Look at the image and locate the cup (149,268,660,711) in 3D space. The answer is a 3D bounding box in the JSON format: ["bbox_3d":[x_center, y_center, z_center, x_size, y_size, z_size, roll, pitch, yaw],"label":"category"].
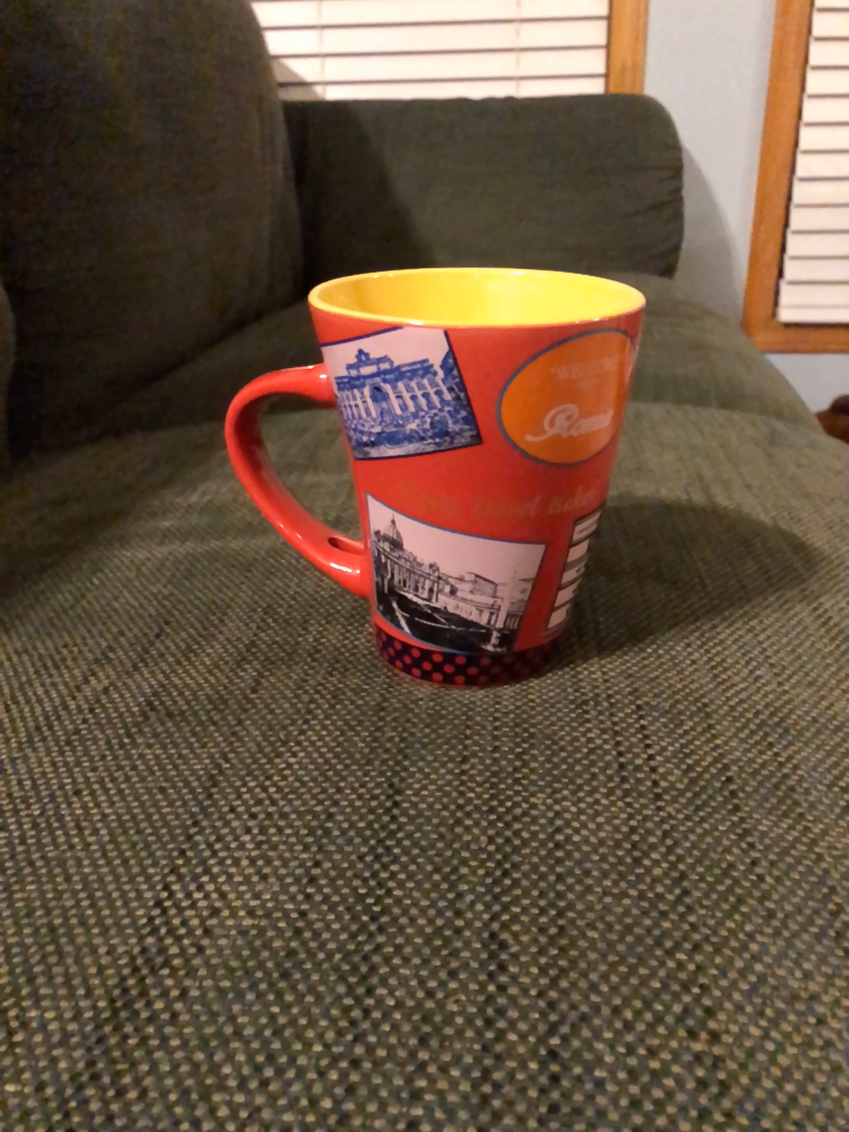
[{"bbox_3d":[0.002,-0.031,0.282,0.120,0.100,0.090,6,24,16],"label":"cup"}]
